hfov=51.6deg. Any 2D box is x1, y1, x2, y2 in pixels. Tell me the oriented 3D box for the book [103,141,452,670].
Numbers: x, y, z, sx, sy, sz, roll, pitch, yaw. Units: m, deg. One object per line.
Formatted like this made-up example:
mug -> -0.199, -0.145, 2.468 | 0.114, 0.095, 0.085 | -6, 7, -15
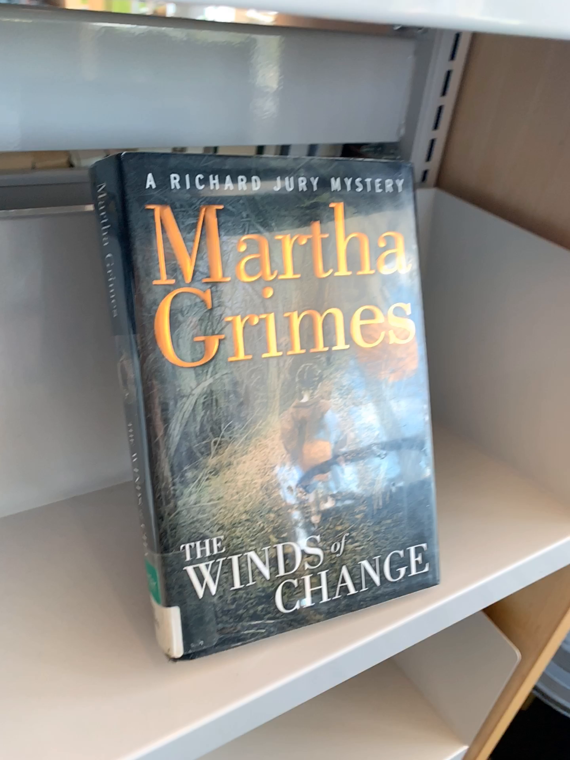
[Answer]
book -> 0.001, 0.005, 0.322 | 0.160, 0.244, 0.050 | -8, 6, -22
